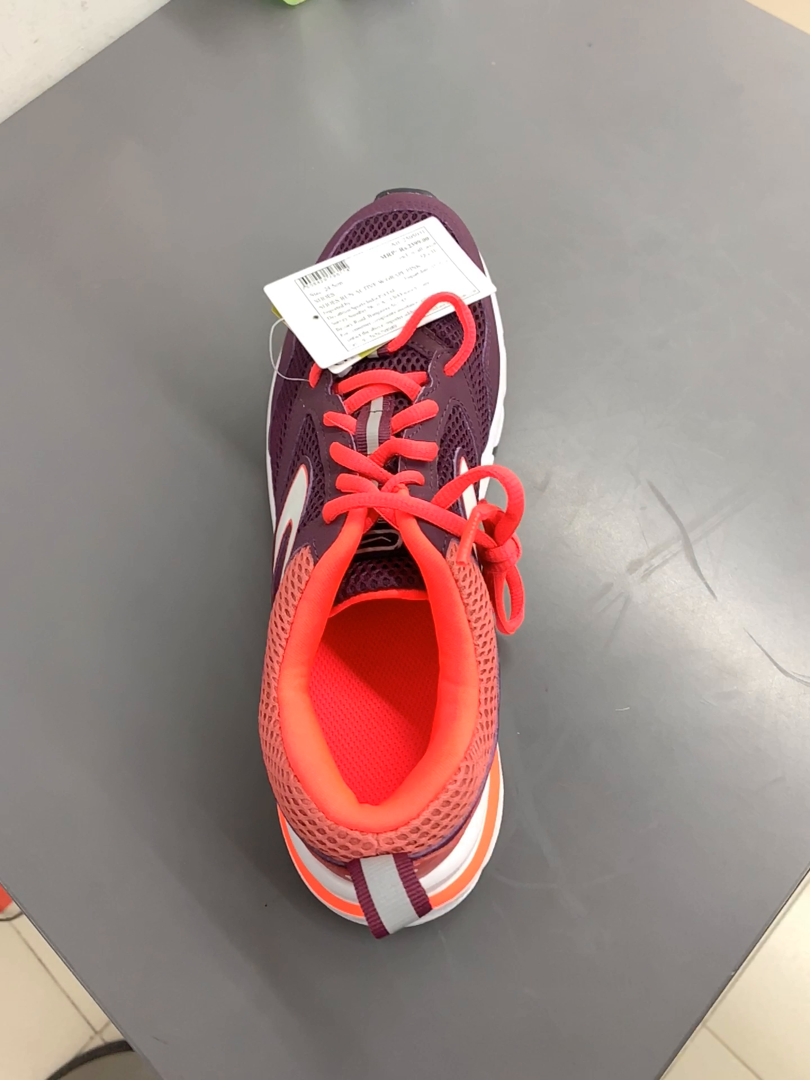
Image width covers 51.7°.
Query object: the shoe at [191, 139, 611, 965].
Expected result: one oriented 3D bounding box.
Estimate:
[{"bbox_3d":[-0.002,-0.002,0.316,0.110,0.100,0.280,-2,69,2],"label":"shoe"}]
